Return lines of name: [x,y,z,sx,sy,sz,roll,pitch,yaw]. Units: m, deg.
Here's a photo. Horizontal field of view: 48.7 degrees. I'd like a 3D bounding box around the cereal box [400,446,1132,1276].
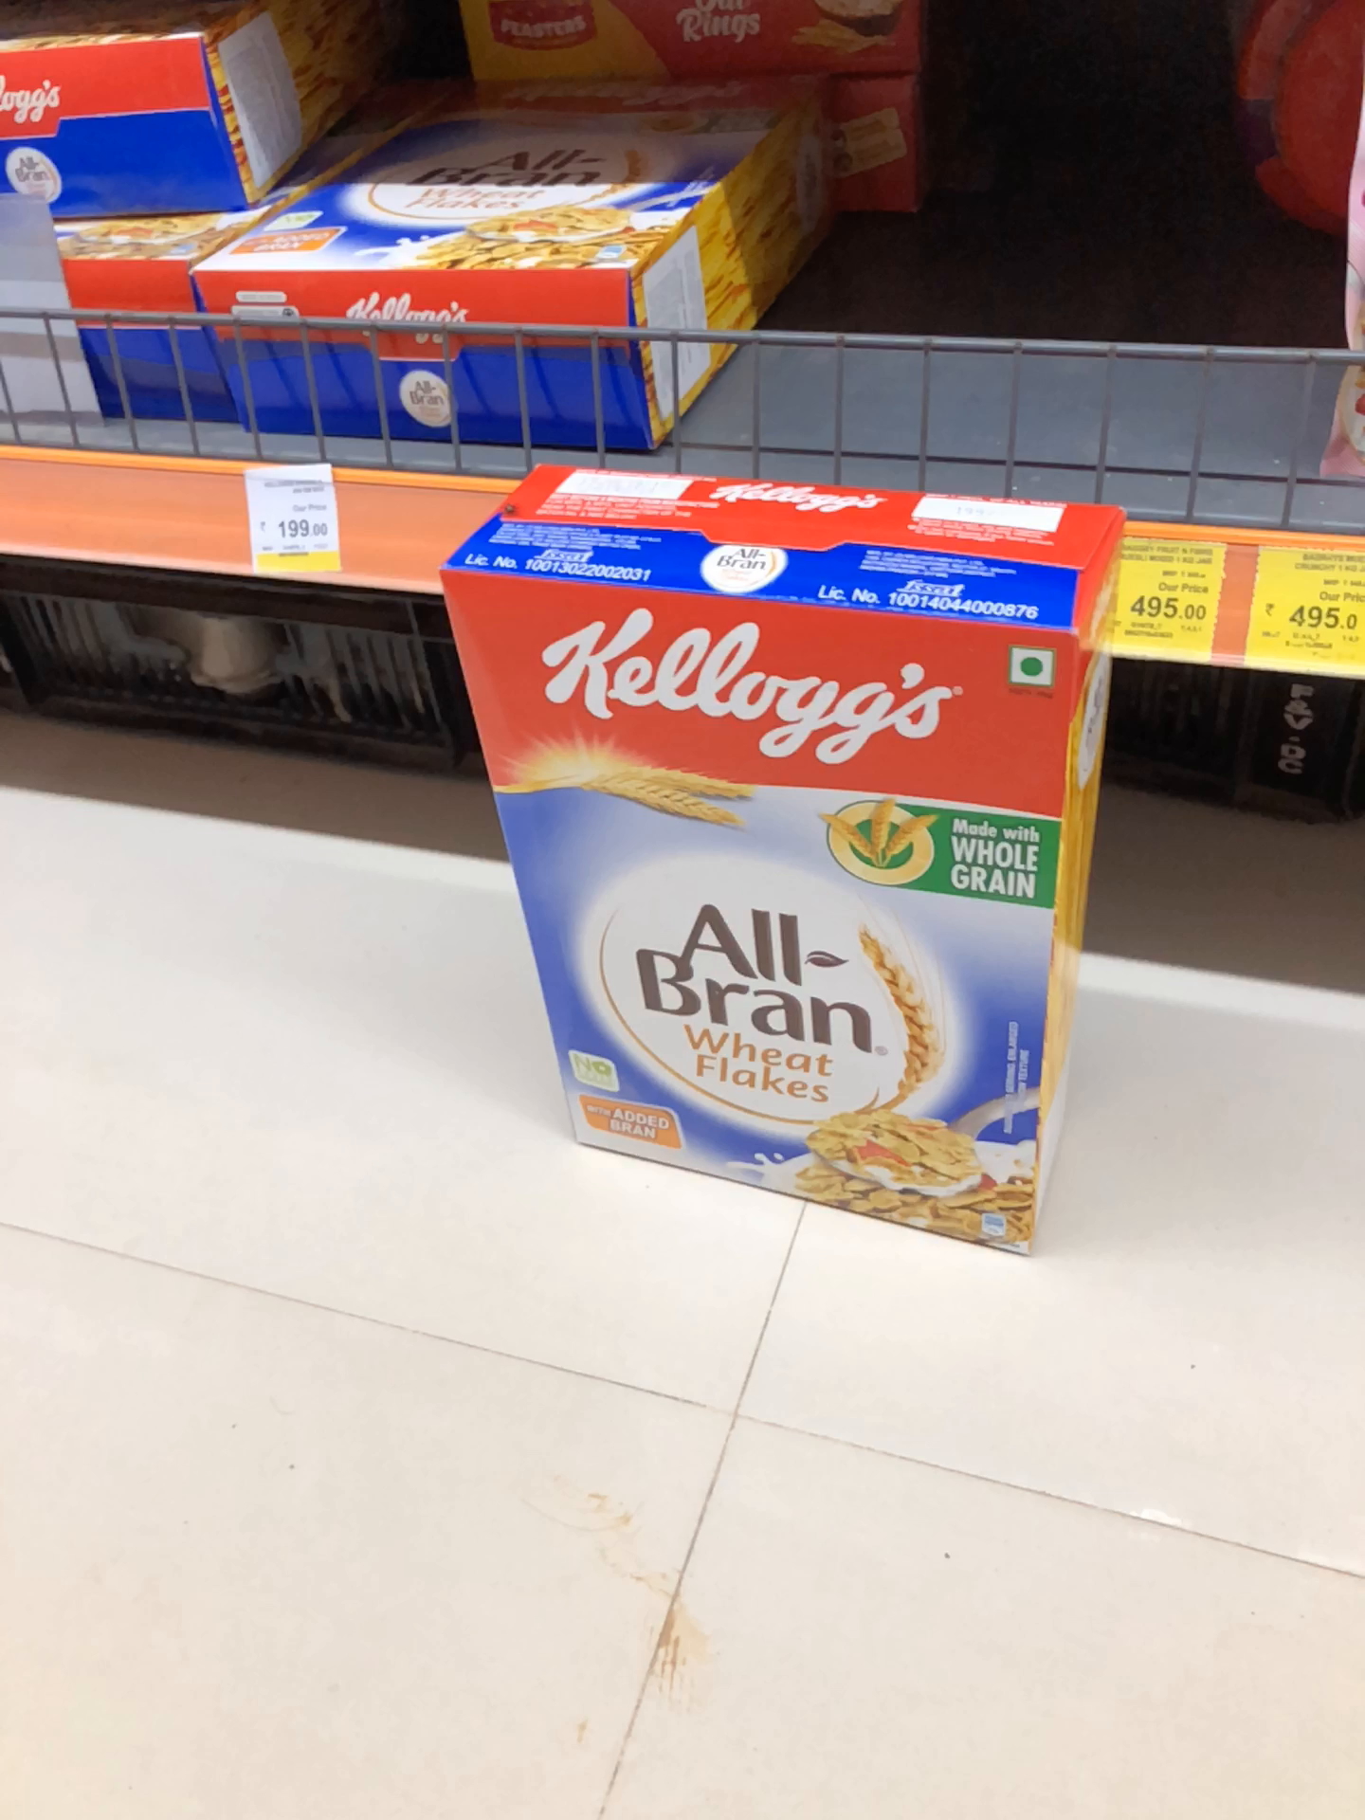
cereal box: [0.035,-0.010,0.508,0.190,0.258,0.081,10,44,20]
